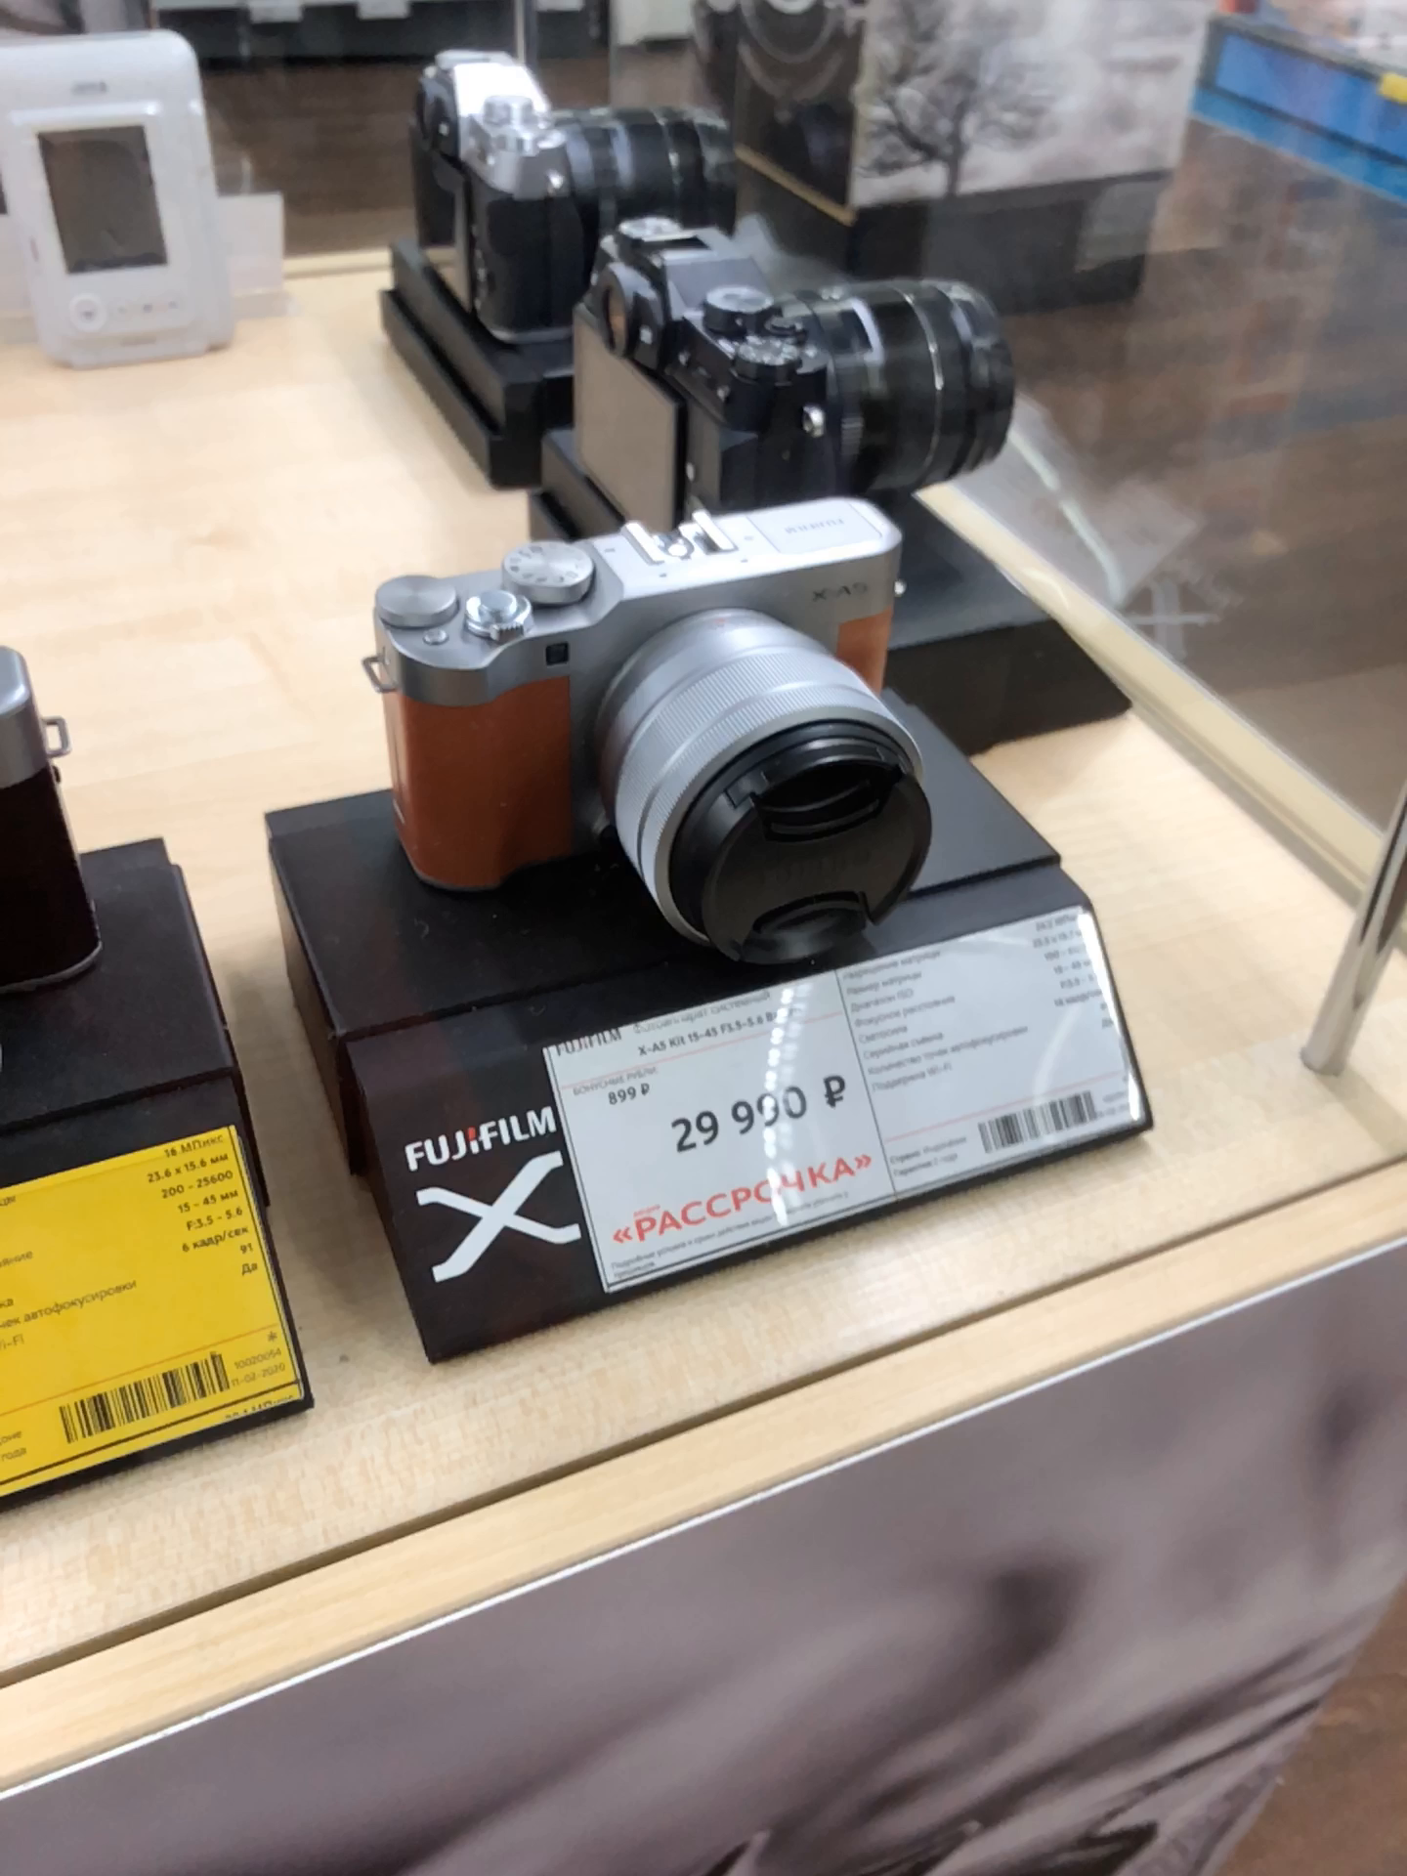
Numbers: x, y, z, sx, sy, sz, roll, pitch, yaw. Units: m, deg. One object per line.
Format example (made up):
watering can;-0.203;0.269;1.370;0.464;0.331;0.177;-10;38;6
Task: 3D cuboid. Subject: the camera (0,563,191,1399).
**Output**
camera;-0.165;0.000;0.270;0.121;0.075;0.093;-15;43;-20

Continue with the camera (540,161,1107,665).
camera;0.027;-0.163;0.470;0.112;0.090;0.131;-15;43;-19

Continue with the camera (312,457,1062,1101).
camera;-0.007;-0.040;0.333;0.121;0.075;0.093;-15;43;-20
